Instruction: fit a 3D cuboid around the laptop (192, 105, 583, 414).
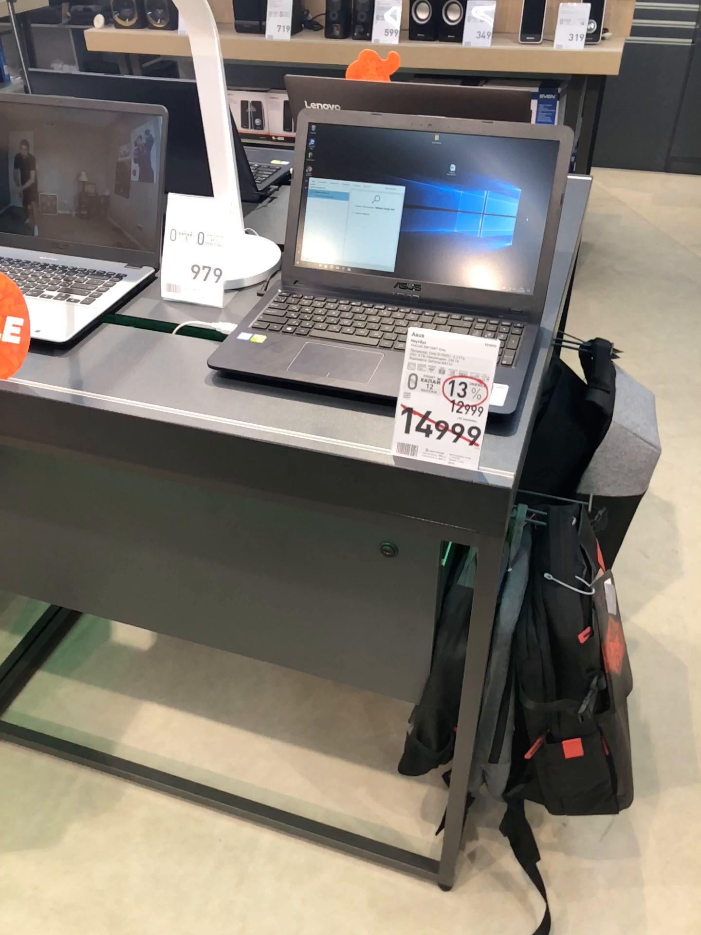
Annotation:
[{"bbox_3d":[0.067,-0.290,0.983,0.380,0.209,0.372,11,40,15],"label":"laptop"}]
